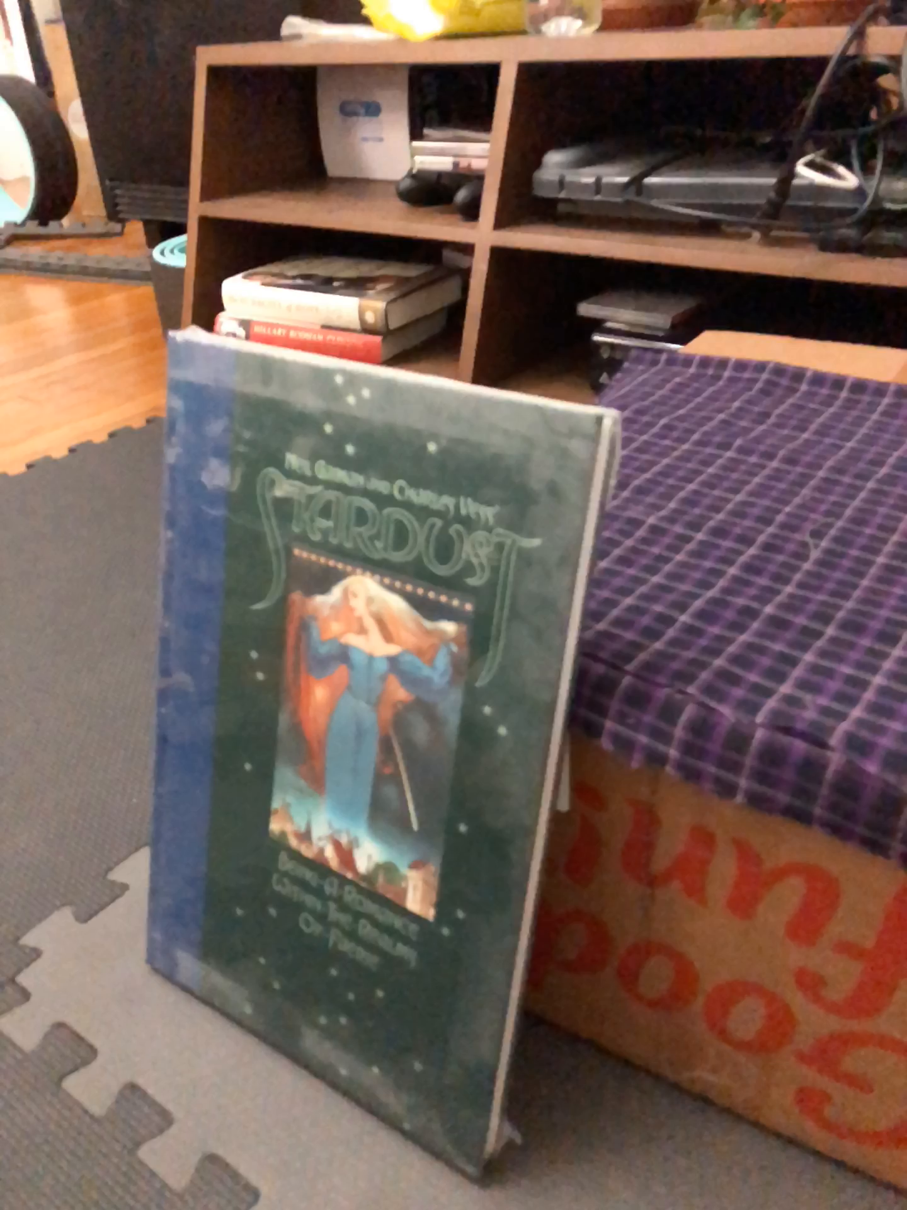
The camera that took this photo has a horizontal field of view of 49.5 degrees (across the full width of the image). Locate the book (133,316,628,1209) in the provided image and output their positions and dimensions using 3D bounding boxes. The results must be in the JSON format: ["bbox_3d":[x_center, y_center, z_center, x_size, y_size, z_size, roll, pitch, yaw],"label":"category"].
[{"bbox_3d":[-0.053,0.061,0.410,0.210,0.329,0.020,17,19,31],"label":"book"}]
